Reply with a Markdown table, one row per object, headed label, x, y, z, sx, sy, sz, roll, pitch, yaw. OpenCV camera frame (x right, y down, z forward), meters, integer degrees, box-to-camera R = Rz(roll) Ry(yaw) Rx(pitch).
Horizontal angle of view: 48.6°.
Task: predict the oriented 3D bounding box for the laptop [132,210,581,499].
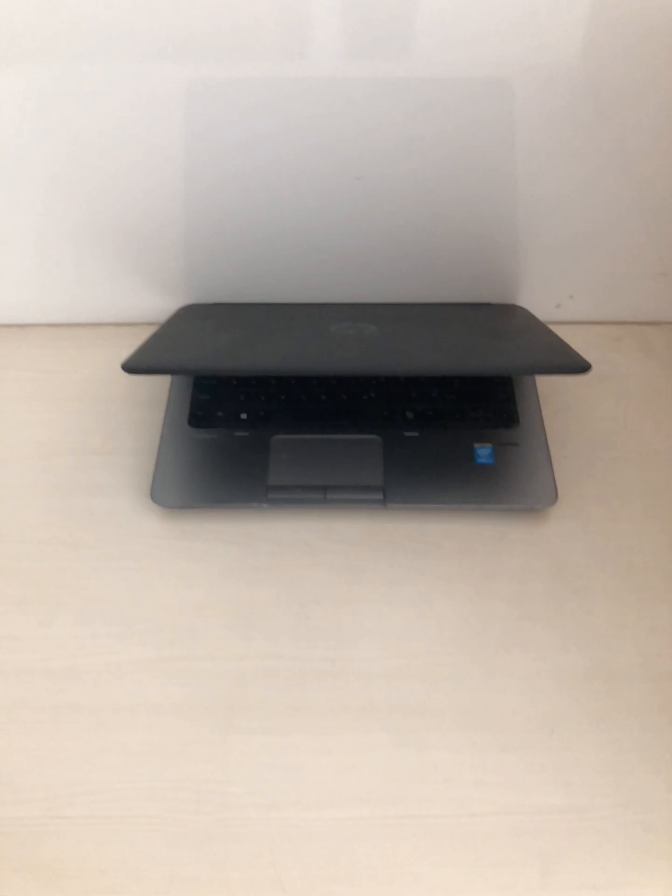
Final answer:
| label | x | y | z | sx | sy | sz | roll | pitch | yaw |
| --- | --- | --- | --- | --- | --- | --- | --- | --- | --- |
| laptop | 0.016 | -0.084 | 0.640 | 0.319 | 0.118 | 0.221 | 0 | 54 | 0 |
